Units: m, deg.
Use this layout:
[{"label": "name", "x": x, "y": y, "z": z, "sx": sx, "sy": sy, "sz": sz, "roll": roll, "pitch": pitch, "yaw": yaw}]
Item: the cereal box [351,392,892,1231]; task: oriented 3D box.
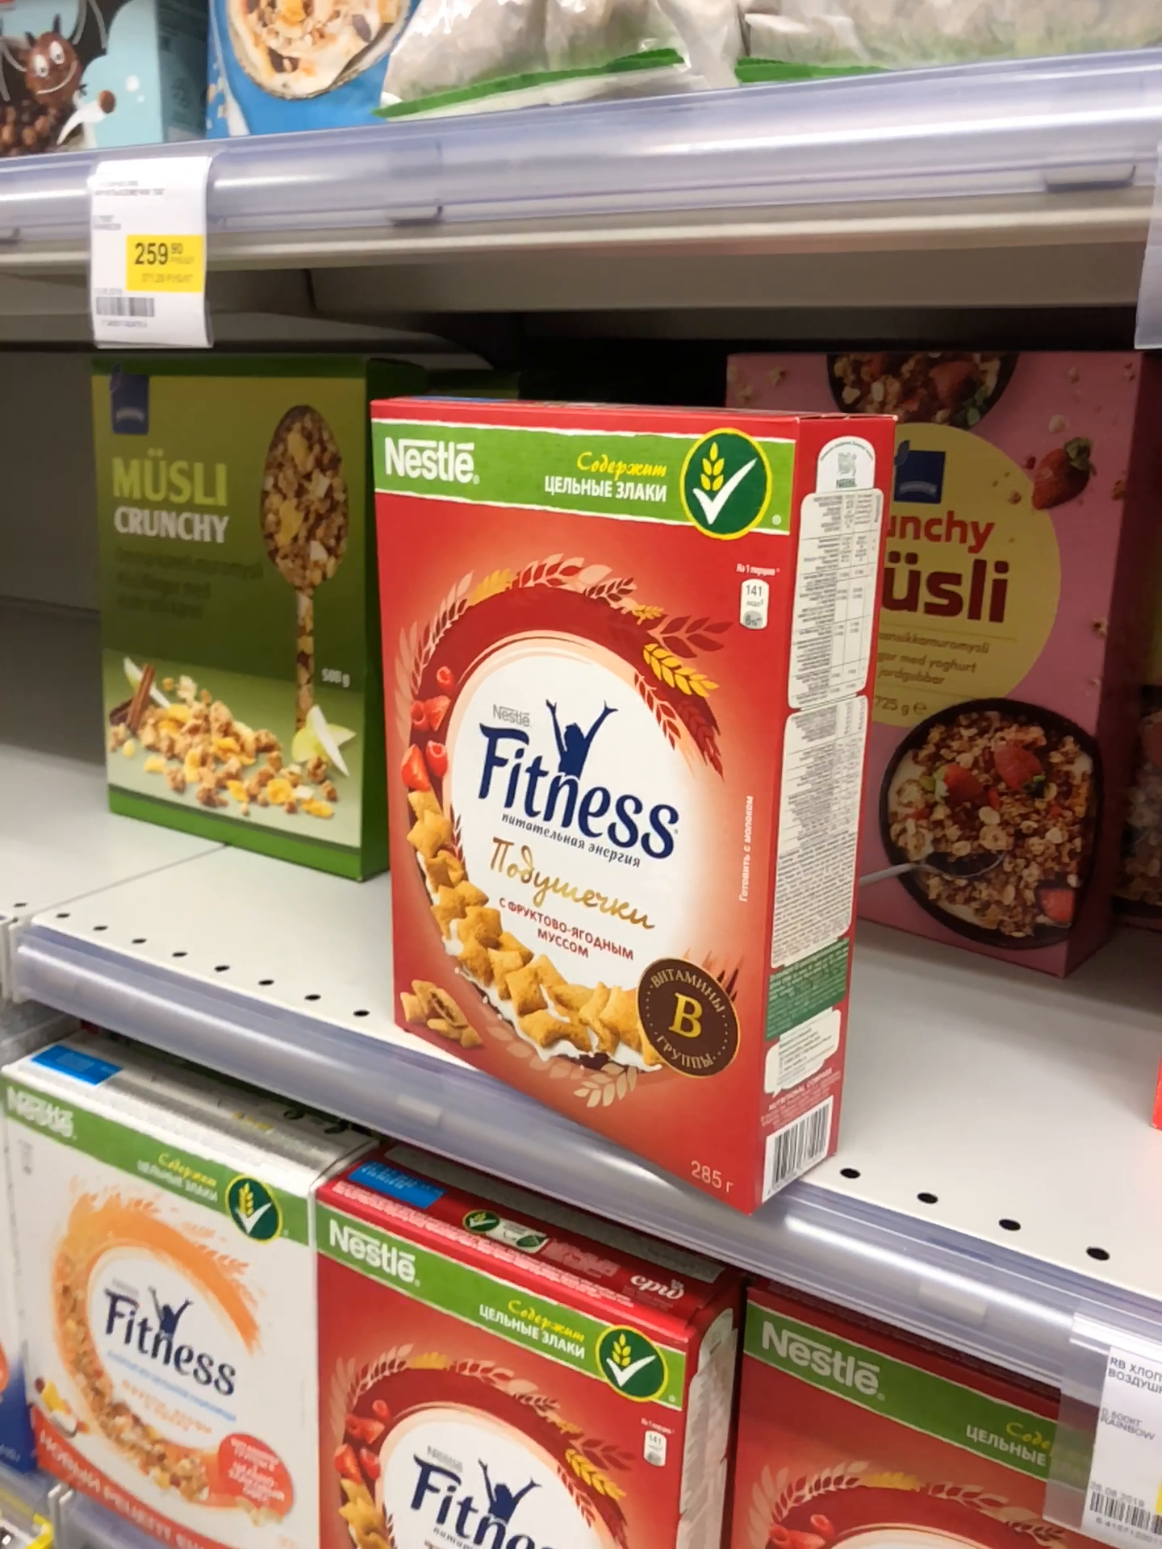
[{"label": "cereal box", "x": 0.003, "y": -0.002, "z": 0.429, "sx": 0.180, "sy": 0.239, "sz": 0.050, "roll": 16, "pitch": 23, "yaw": 42}]
